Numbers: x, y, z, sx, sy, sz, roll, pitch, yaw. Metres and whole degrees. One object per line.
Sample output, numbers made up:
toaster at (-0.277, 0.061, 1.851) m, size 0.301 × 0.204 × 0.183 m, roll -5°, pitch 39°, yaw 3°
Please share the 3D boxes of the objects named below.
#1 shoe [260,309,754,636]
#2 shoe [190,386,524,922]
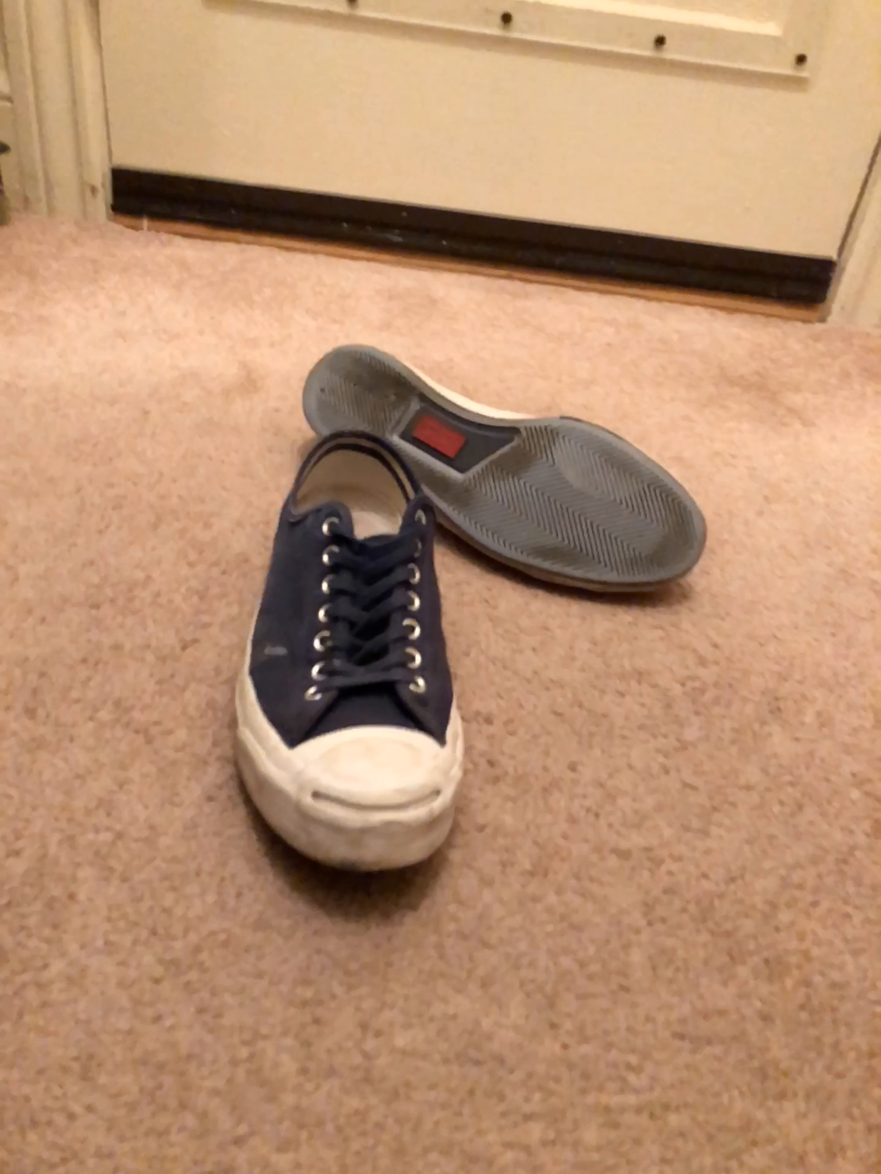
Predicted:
shoe at (0.040, -0.080, 0.643) m, size 0.296 × 0.104 × 0.099 m, roll 25°, pitch 11°, yaw 21°
shoe at (-0.044, 0.011, 0.480) m, size 0.116 × 0.098 × 0.288 m, roll 3°, pitch 36°, yaw -7°
